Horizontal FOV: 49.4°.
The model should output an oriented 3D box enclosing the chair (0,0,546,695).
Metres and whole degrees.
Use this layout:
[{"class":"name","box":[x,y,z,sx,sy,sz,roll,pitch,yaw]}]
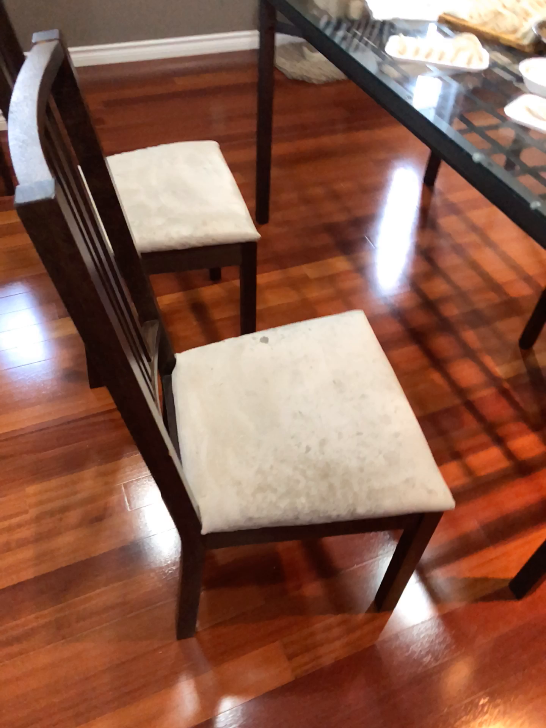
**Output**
[{"class":"chair","box":[-0.032,0.001,0.953,0.540,0.994,0.594,-10,49,-12]}]
